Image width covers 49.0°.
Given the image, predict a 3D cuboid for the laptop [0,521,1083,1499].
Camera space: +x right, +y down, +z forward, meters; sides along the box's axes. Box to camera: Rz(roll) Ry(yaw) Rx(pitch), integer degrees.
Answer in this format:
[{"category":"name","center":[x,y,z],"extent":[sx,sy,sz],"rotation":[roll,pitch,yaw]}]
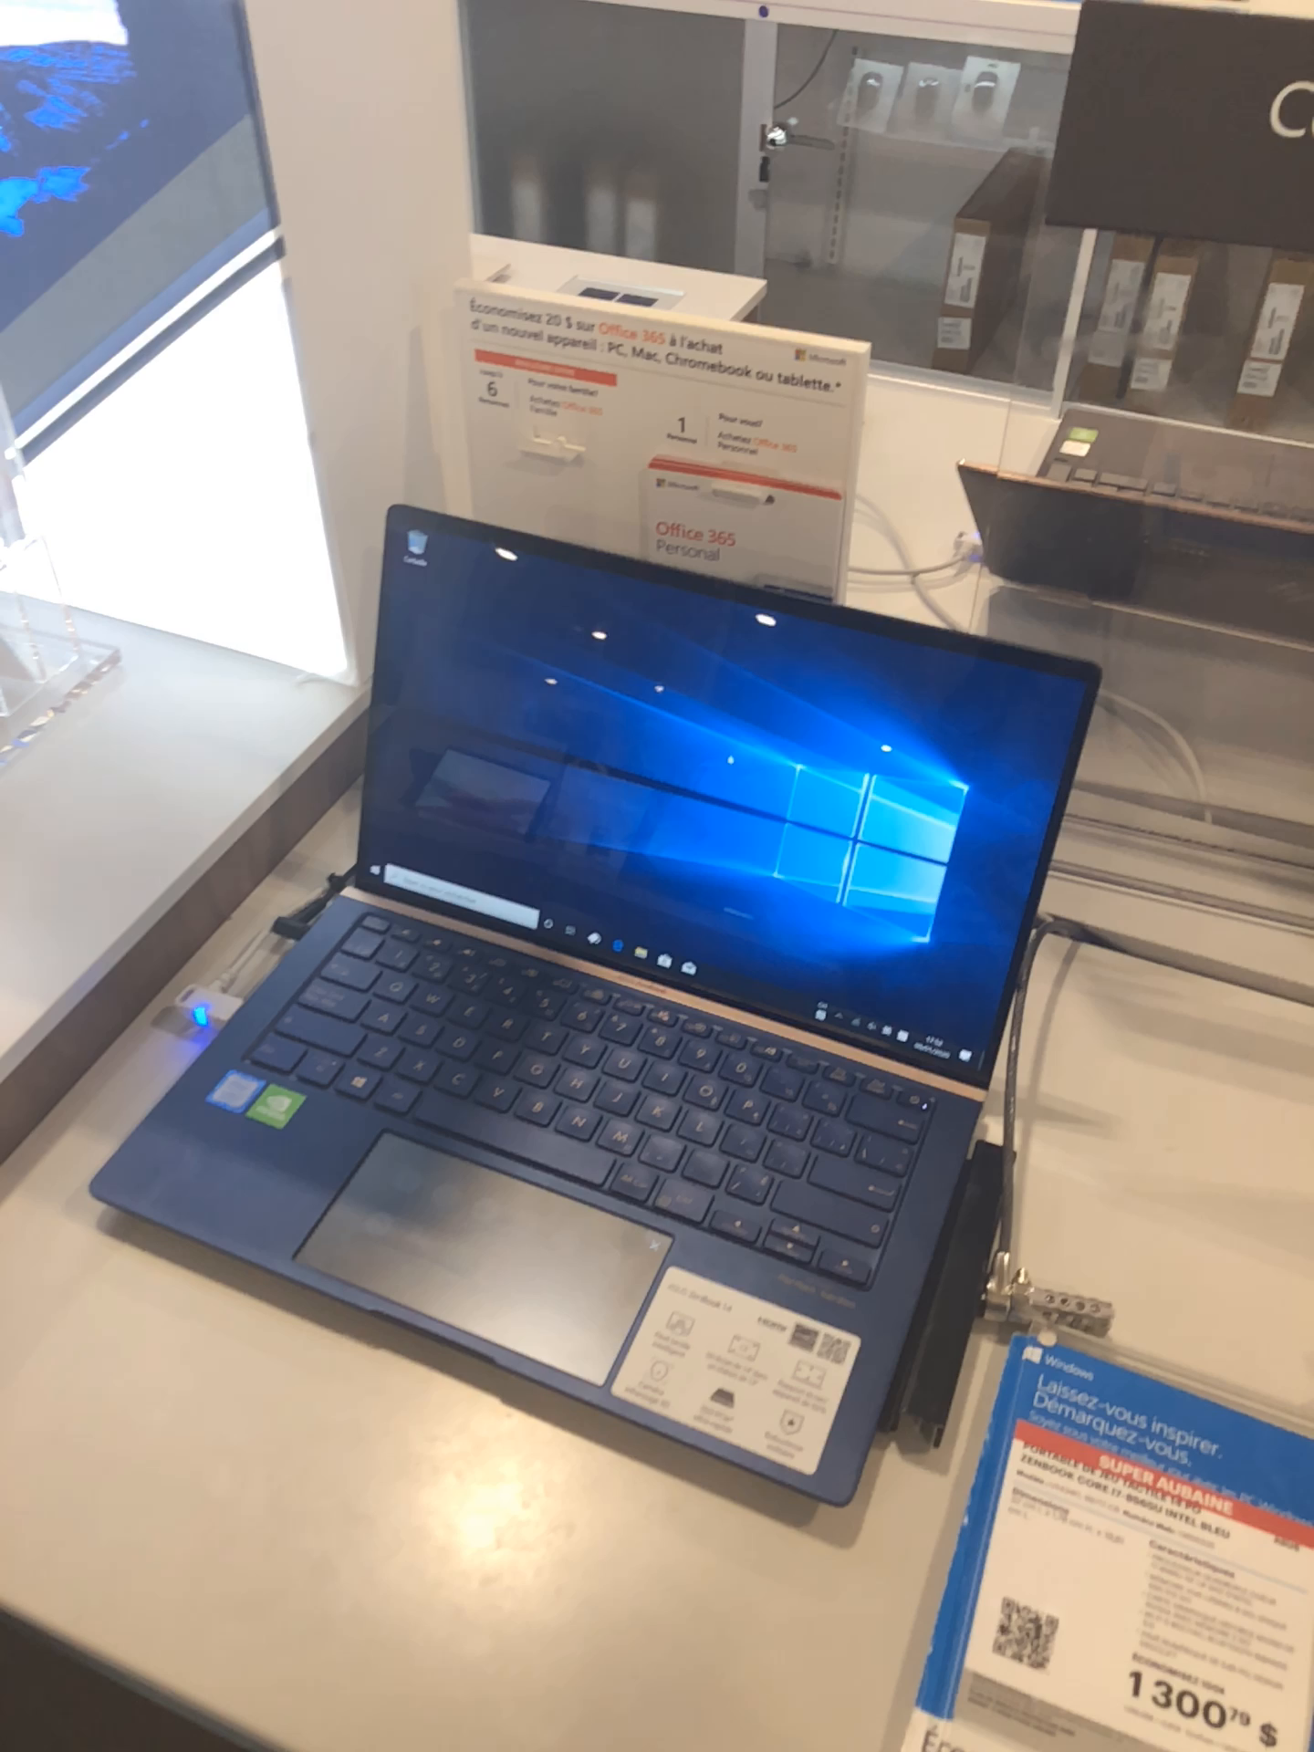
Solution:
[{"category":"laptop","center":[-0.031,0.025,0.554],"extent":[0.309,0.179,0.253],"rotation":[16,42,17]}]
